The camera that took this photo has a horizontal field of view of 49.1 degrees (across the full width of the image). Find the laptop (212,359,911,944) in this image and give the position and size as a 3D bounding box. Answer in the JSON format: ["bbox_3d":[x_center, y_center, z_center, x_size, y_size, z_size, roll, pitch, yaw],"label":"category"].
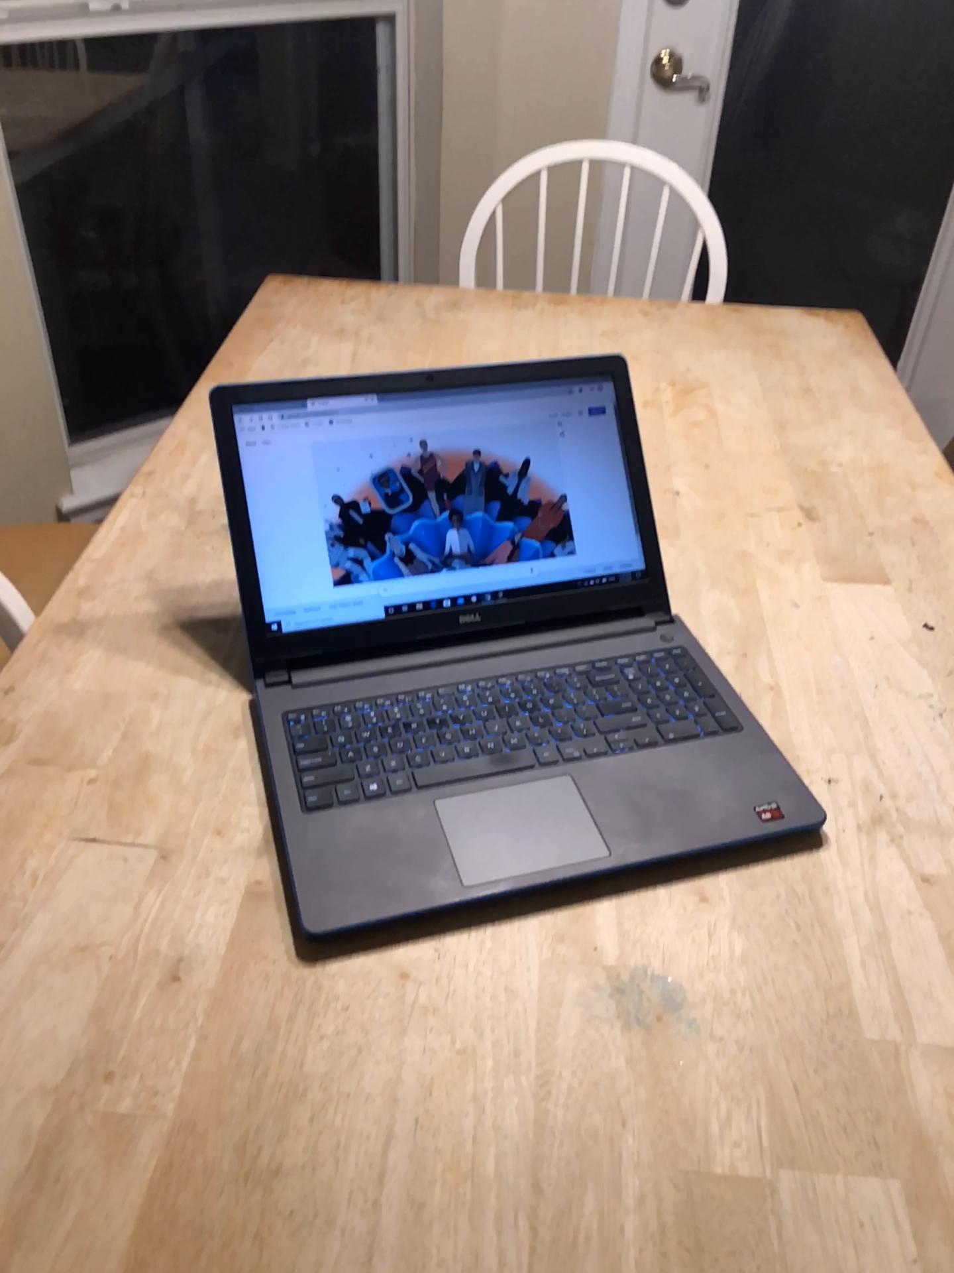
[{"bbox_3d":[0.019,-0.032,0.791,0.367,0.174,0.420,-9,38,-15],"label":"laptop"}]
